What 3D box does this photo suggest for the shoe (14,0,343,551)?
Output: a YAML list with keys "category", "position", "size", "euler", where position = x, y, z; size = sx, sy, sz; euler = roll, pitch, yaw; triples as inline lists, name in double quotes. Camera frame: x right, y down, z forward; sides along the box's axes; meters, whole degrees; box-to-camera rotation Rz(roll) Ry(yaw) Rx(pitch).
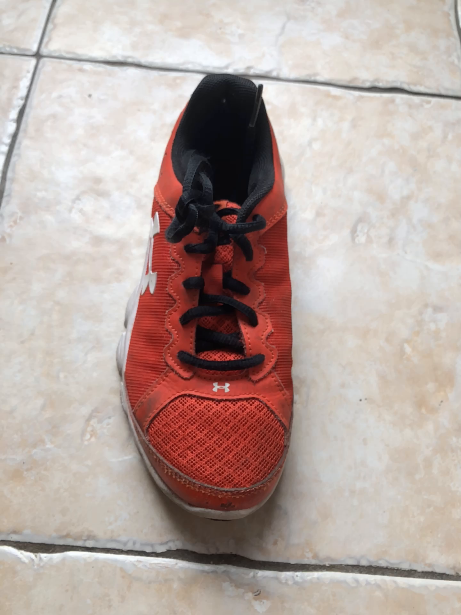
- category: "shoe"
  position: [-0.011, -0.022, 0.247]
  size: [0.100, 0.100, 0.241]
  euler: [3, 68, 0]
